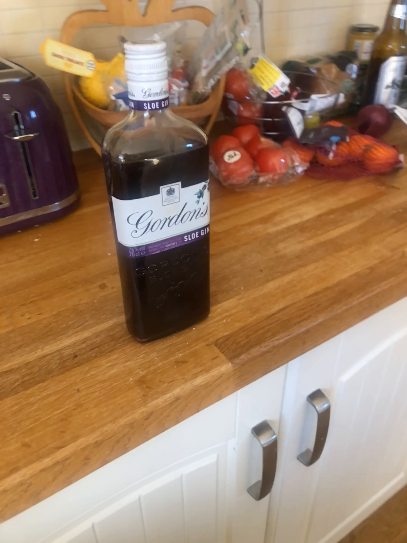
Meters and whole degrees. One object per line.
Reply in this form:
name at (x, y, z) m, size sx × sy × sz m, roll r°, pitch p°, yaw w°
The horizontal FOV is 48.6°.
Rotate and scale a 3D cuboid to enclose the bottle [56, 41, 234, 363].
bottle at (-0.041, -0.053, 0.380) m, size 0.100 × 0.238 × 0.080 m, roll -18°, pitch 38°, yaw -24°
